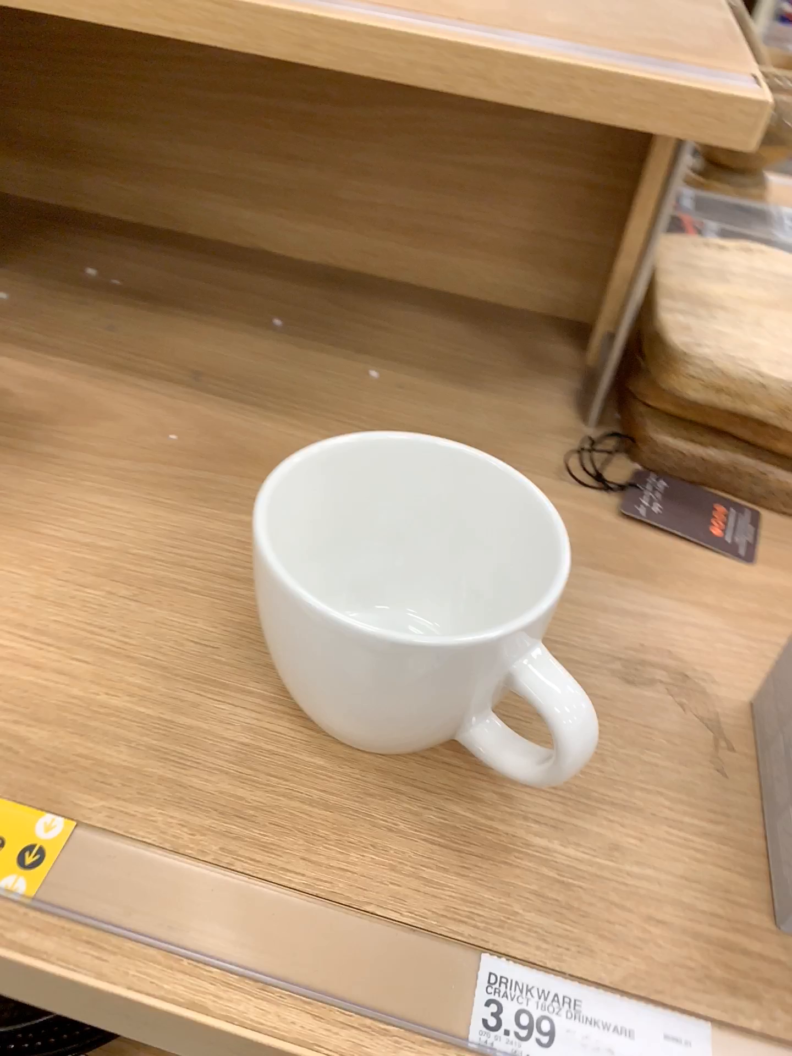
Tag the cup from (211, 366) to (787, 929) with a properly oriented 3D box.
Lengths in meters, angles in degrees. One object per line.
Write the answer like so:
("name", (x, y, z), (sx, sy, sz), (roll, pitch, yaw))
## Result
("cup", (0.027, 0.026, 0.275), (0.140, 0.080, 0.110), (35, 47, 27))
